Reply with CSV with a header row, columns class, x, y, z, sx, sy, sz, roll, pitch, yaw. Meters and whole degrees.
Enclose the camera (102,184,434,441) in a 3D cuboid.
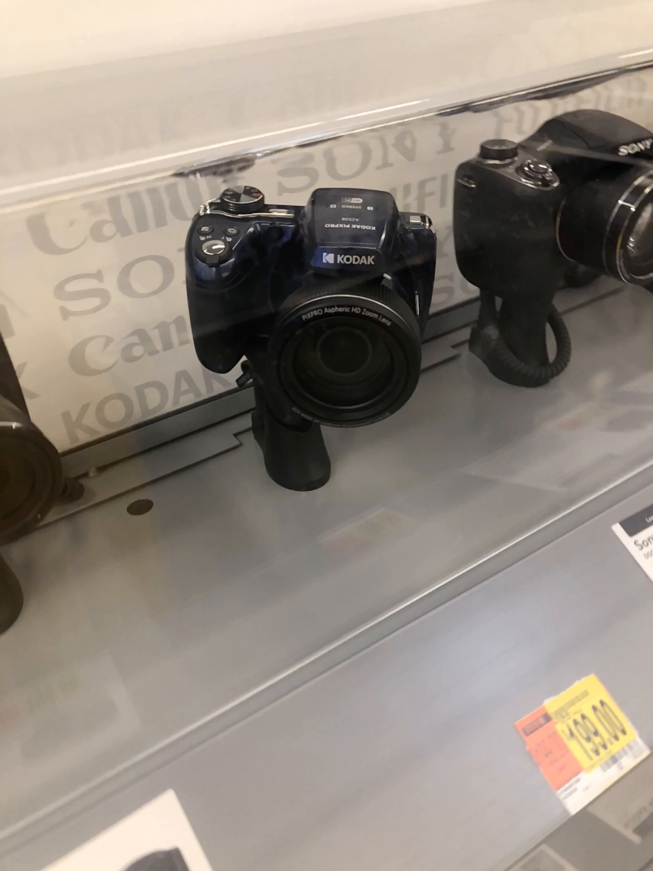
class,x,y,z,sx,sy,sz,roll,pitch,yaw
camera,-0.022,-0.063,0.350,0.130,0.080,0.111,-1,35,1
